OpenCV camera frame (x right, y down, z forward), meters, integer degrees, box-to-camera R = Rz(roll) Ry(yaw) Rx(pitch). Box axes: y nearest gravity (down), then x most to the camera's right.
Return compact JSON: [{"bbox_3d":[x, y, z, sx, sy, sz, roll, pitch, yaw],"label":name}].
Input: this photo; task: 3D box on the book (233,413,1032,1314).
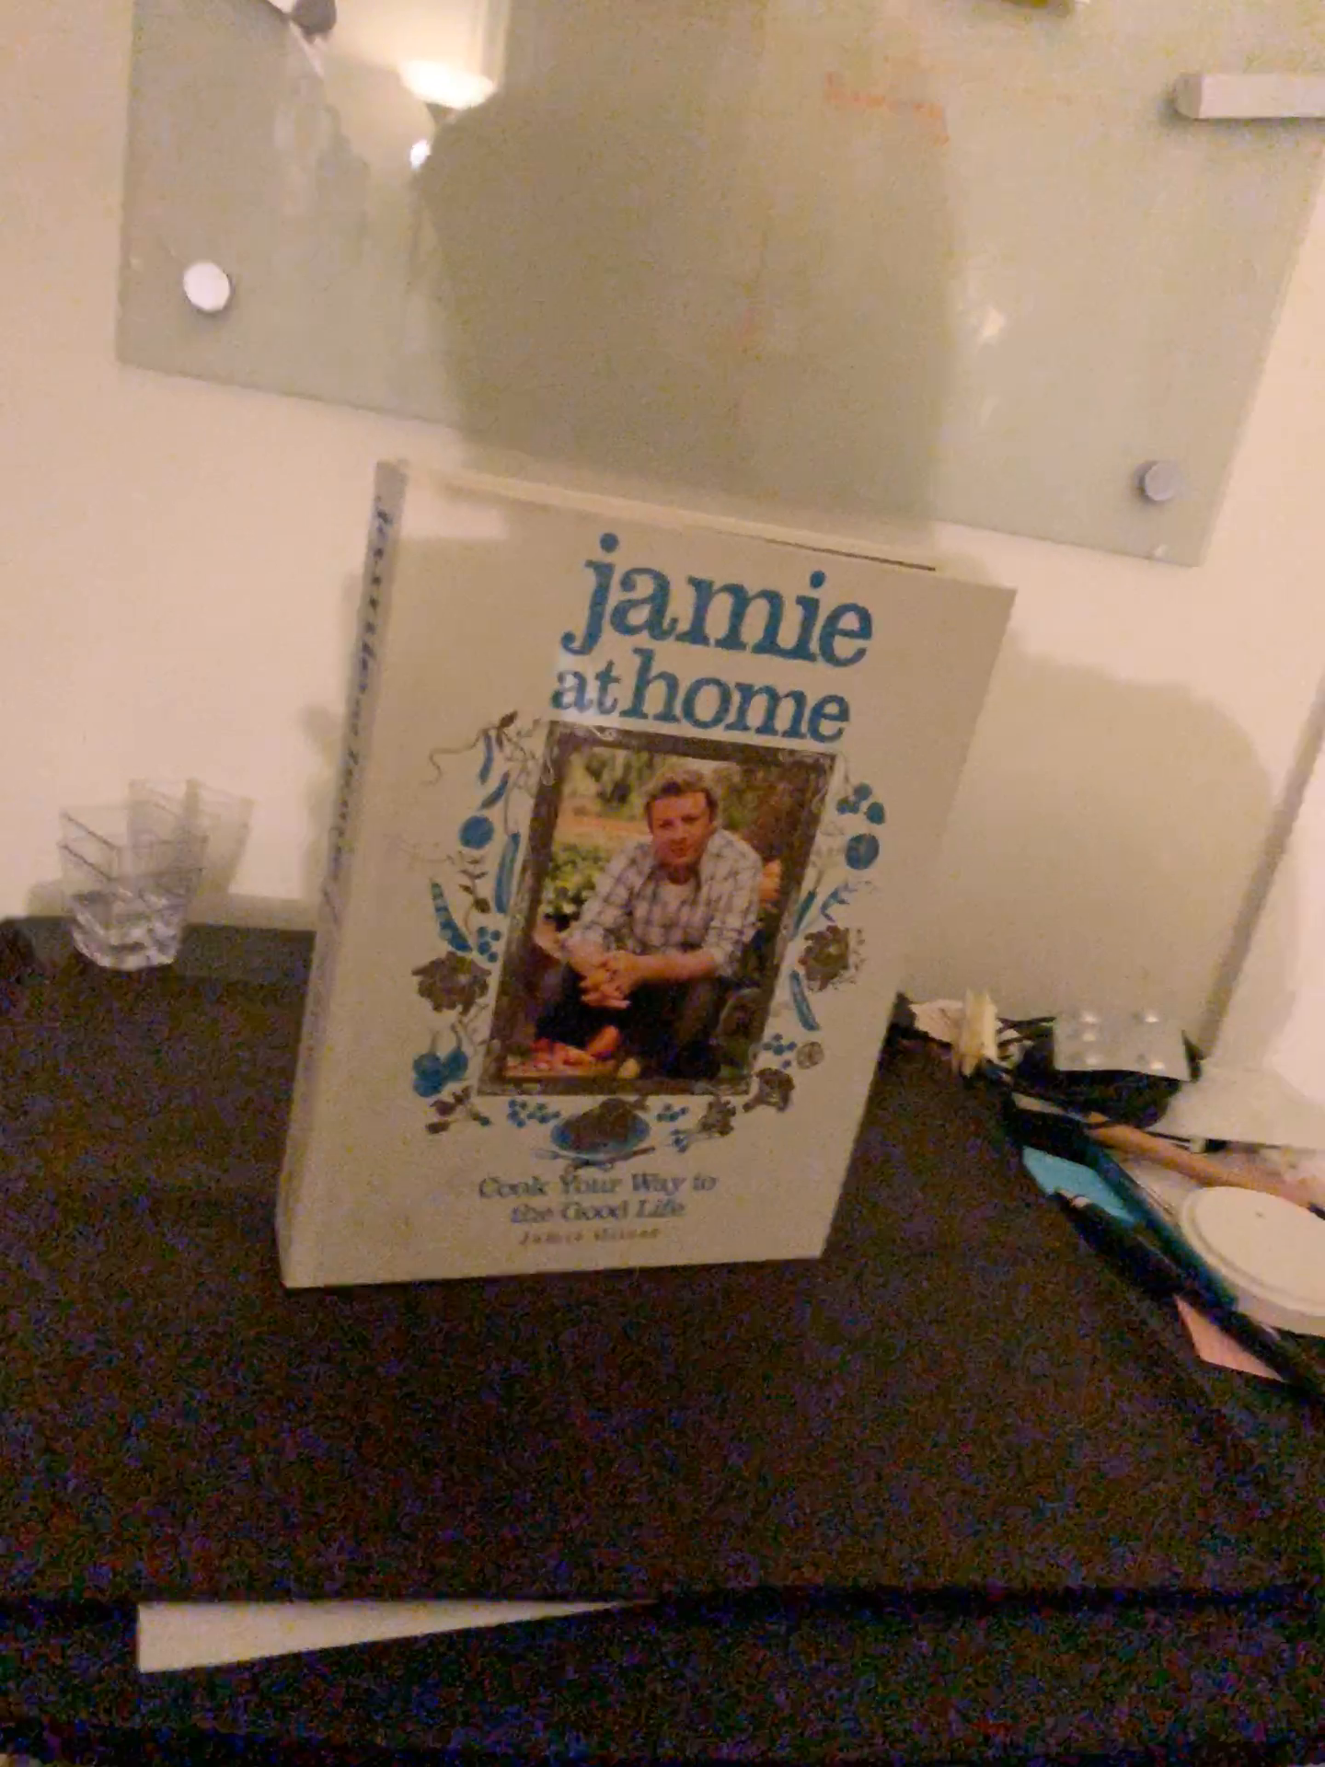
[{"bbox_3d":[-0.017,0.007,0.448,0.210,0.269,0.050,4,20,-23],"label":"book"}]
